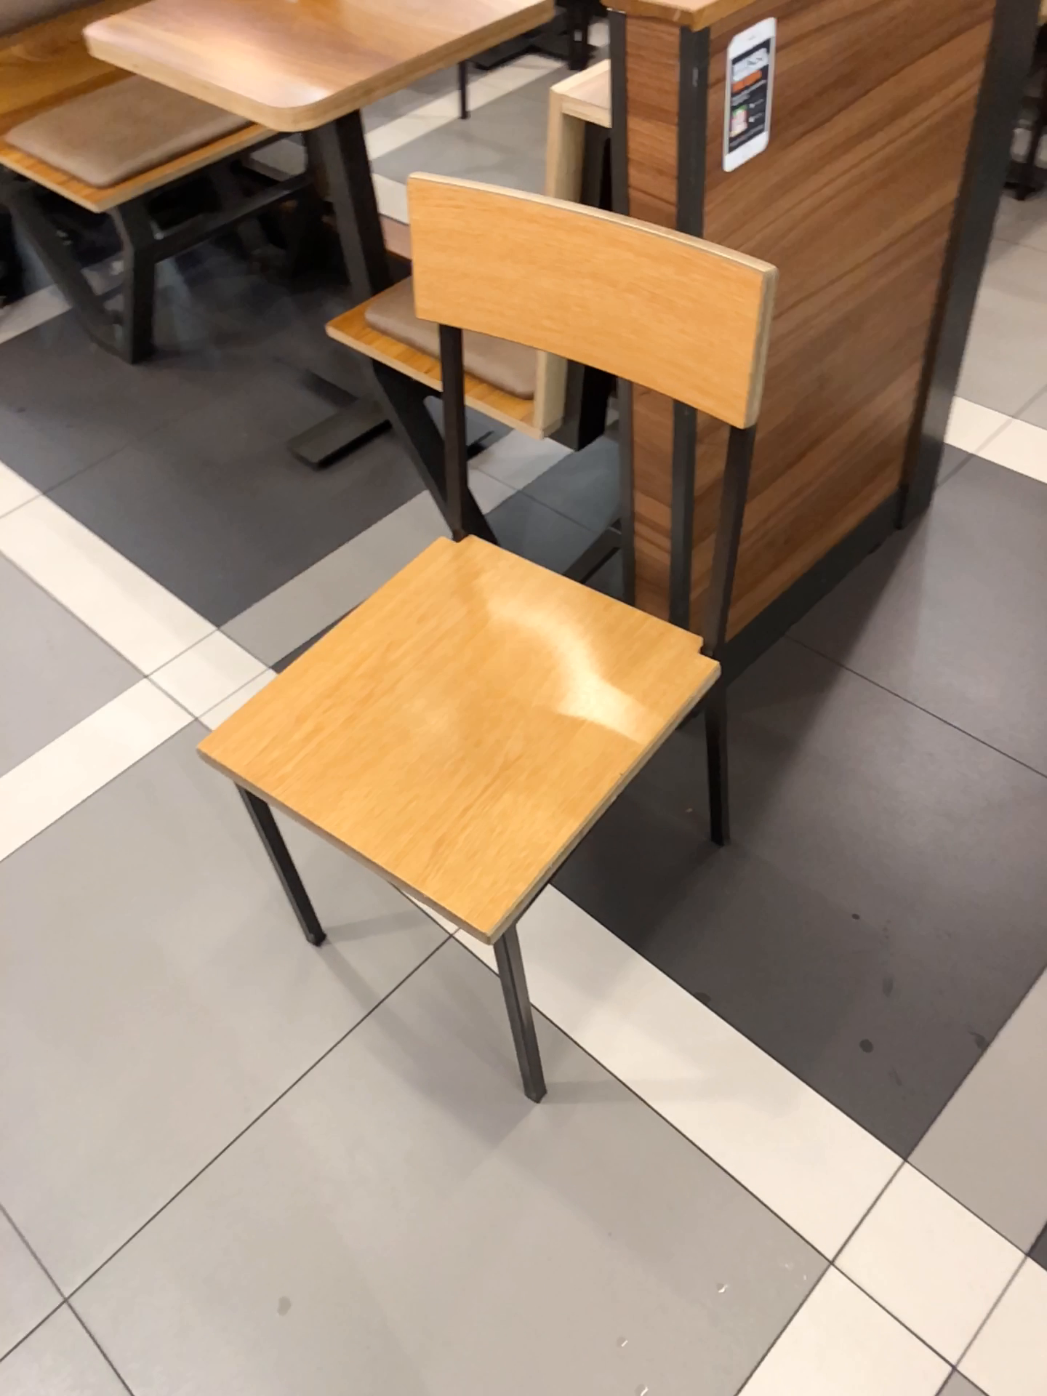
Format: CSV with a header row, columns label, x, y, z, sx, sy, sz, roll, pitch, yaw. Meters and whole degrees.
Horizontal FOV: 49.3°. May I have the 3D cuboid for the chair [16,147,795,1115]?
label,x,y,z,sx,sy,sz,roll,pitch,yaw
chair,-0.051,-0.029,1.222,0.431,0.846,0.461,26,56,26
